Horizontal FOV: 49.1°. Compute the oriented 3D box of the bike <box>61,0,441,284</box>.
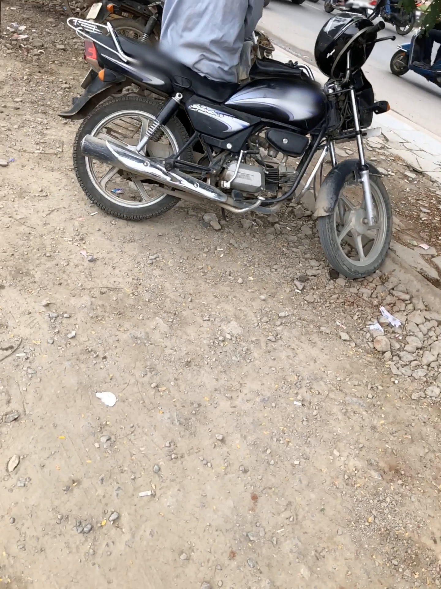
[{"bbox_3d":[0.155,-0.861,2.410,1.594,1.170,0.744,10,36,-9],"label":"bike"}]
